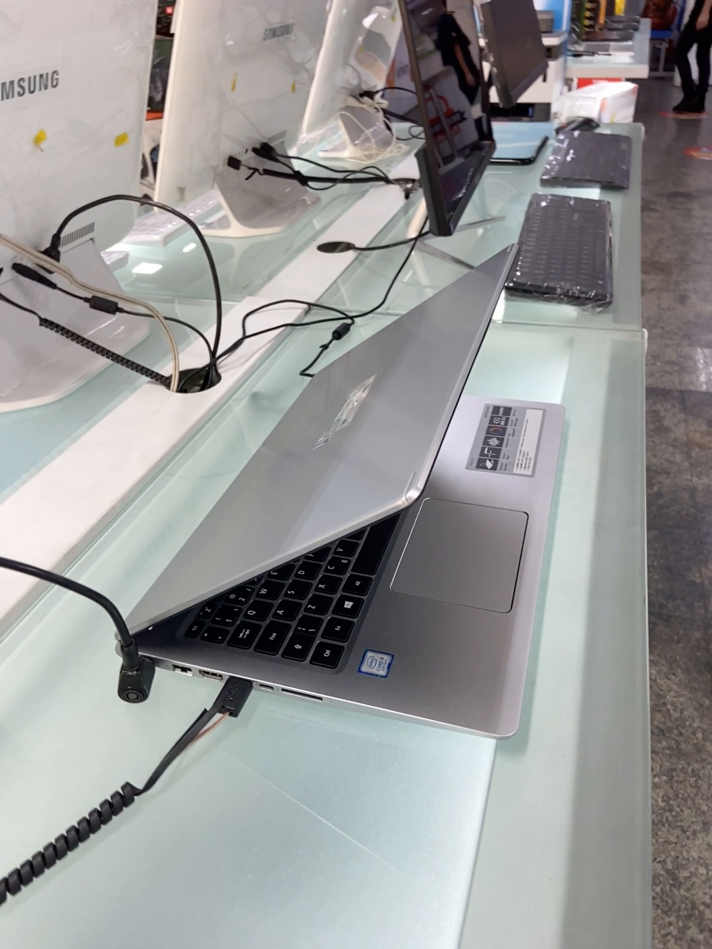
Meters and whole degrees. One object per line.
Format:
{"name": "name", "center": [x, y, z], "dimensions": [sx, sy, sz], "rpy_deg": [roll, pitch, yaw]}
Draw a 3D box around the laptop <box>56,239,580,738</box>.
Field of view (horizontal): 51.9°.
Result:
{"name": "laptop", "center": [0.019, -0.037, 0.509], "dimensions": [0.236, 0.138, 0.362], "rpy_deg": [7, 35, 15]}
